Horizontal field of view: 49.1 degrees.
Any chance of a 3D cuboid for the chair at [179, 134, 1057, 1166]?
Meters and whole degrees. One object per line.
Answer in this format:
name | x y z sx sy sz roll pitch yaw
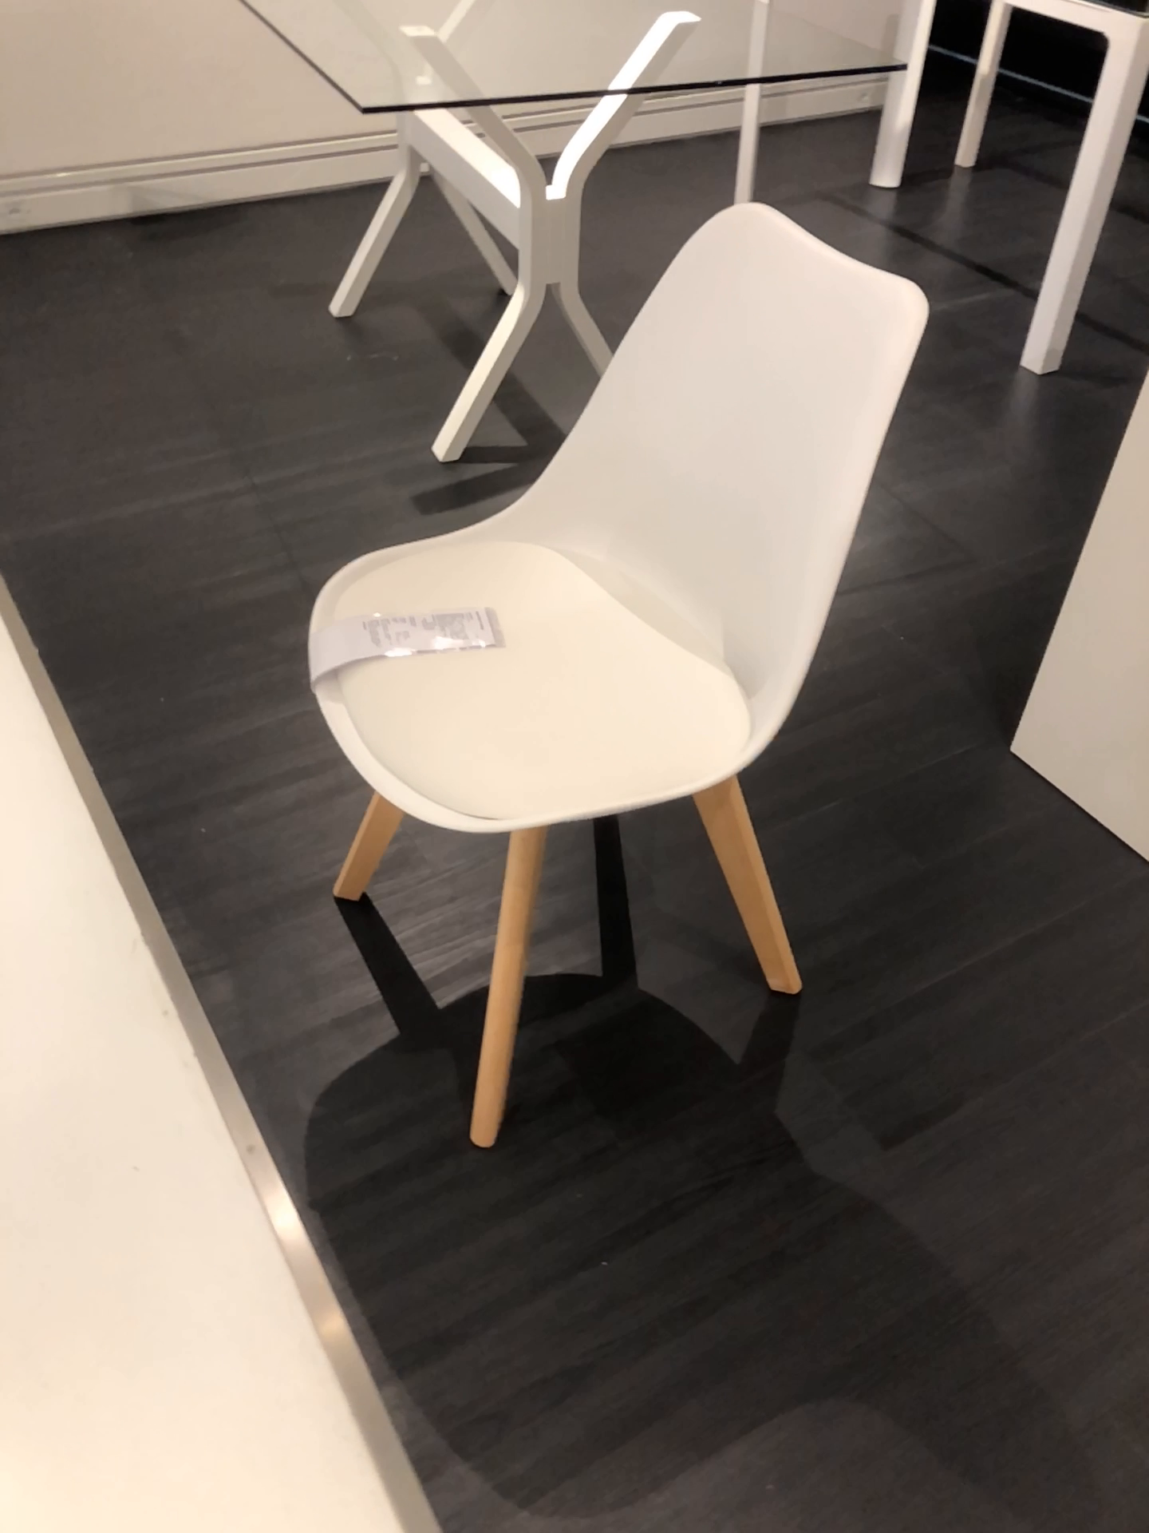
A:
chair | -0.003 -0.122 1.271 0.531 0.784 0.503 -18 45 -23
